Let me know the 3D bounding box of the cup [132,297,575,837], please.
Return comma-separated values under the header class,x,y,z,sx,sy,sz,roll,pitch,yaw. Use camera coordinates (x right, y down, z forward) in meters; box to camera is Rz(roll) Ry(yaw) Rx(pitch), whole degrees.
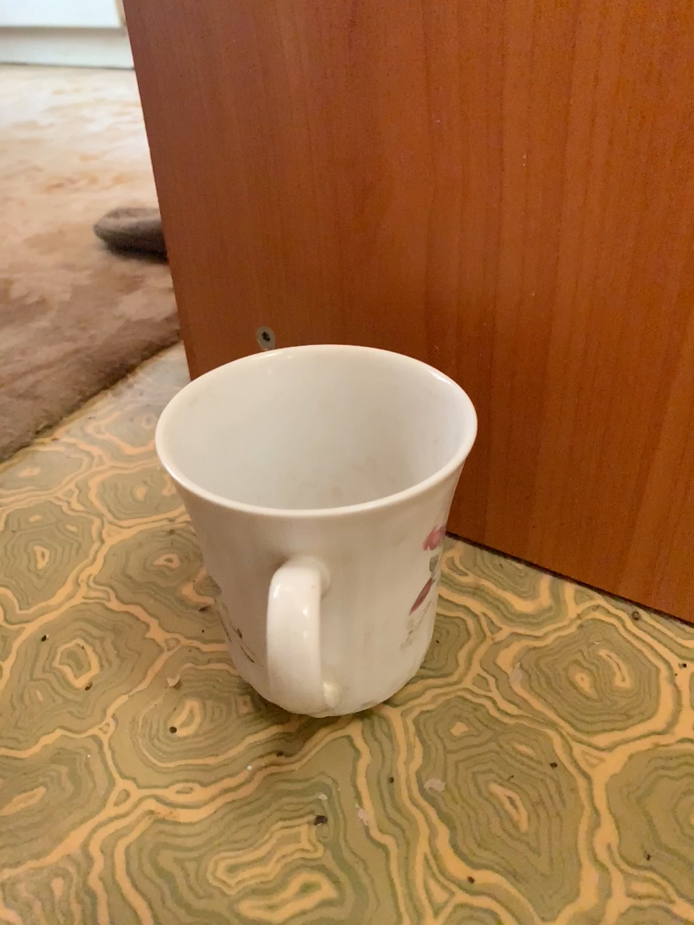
class,x,y,z,sx,sy,sz,roll,pitch,yaw
cup,-0.006,0.019,0.211,0.086,0.086,0.119,-8,35,-7
